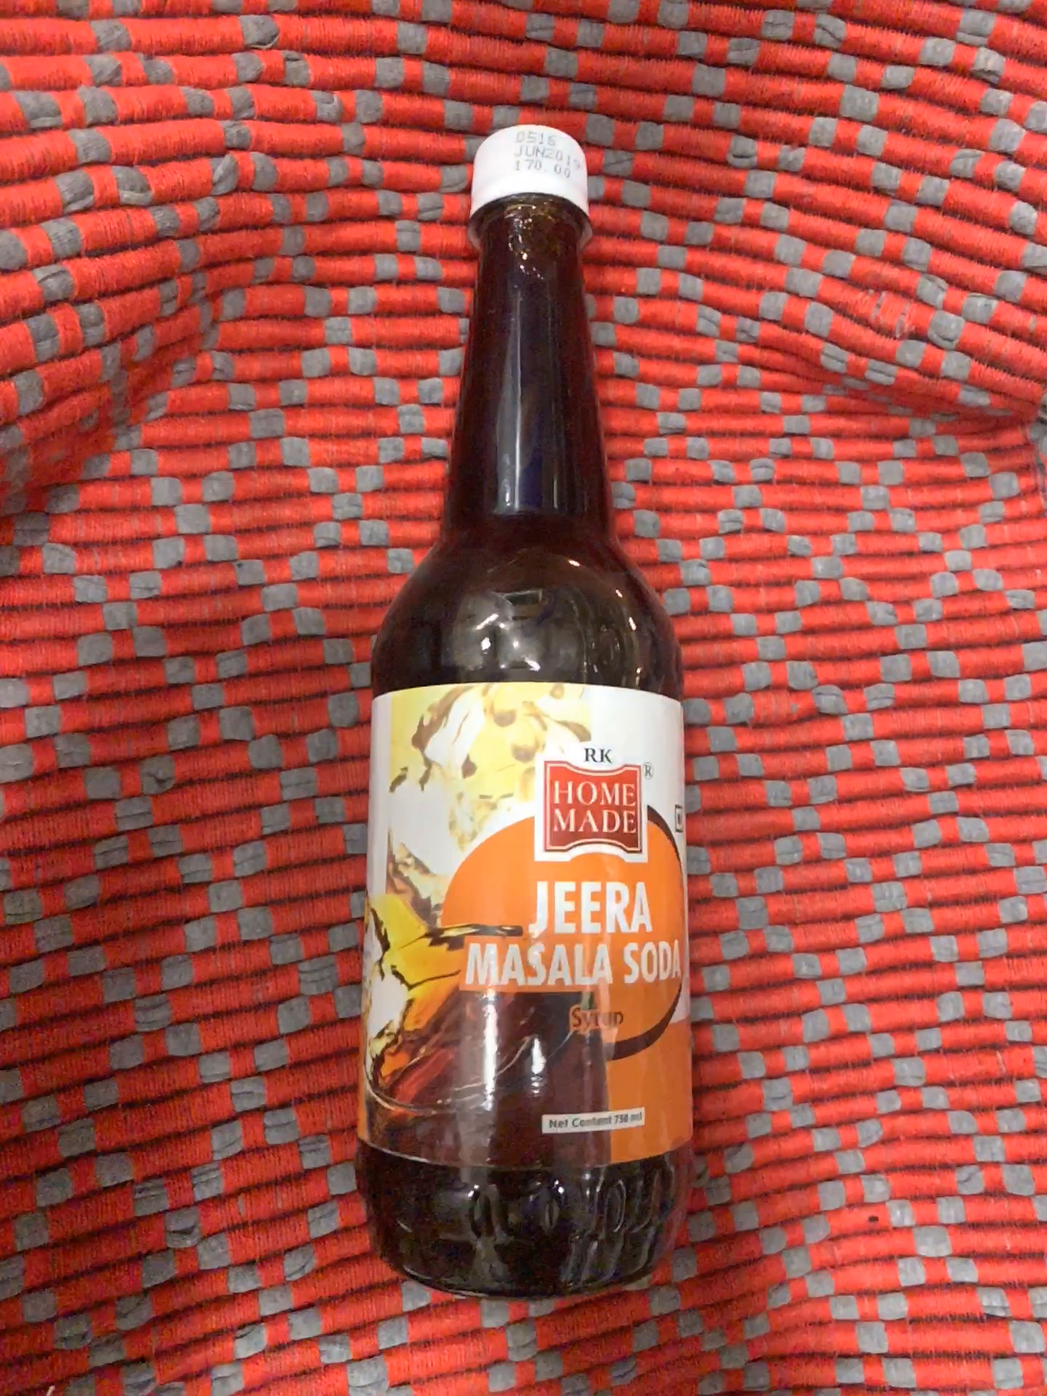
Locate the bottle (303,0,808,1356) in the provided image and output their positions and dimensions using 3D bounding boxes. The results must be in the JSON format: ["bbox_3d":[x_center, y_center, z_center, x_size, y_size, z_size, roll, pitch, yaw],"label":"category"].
[{"bbox_3d":[0.002,-0.012,0.248,0.080,0.070,0.260,5,77,-23],"label":"bottle"}]
